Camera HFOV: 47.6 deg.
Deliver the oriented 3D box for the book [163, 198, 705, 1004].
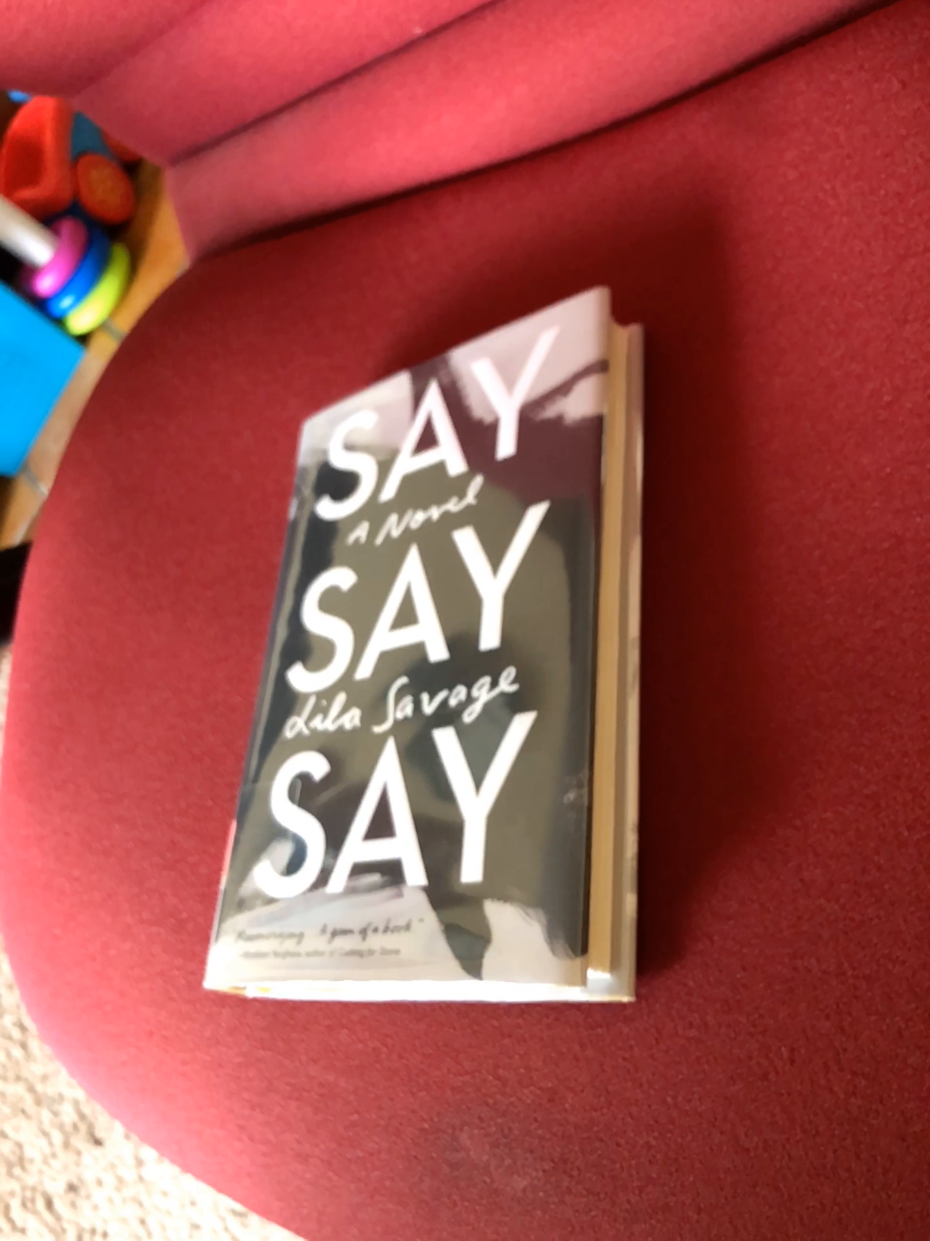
[{"bbox_3d":[-0.013,0.001,0.314,0.151,0.040,0.210,-14,64,35],"label":"book"}]
